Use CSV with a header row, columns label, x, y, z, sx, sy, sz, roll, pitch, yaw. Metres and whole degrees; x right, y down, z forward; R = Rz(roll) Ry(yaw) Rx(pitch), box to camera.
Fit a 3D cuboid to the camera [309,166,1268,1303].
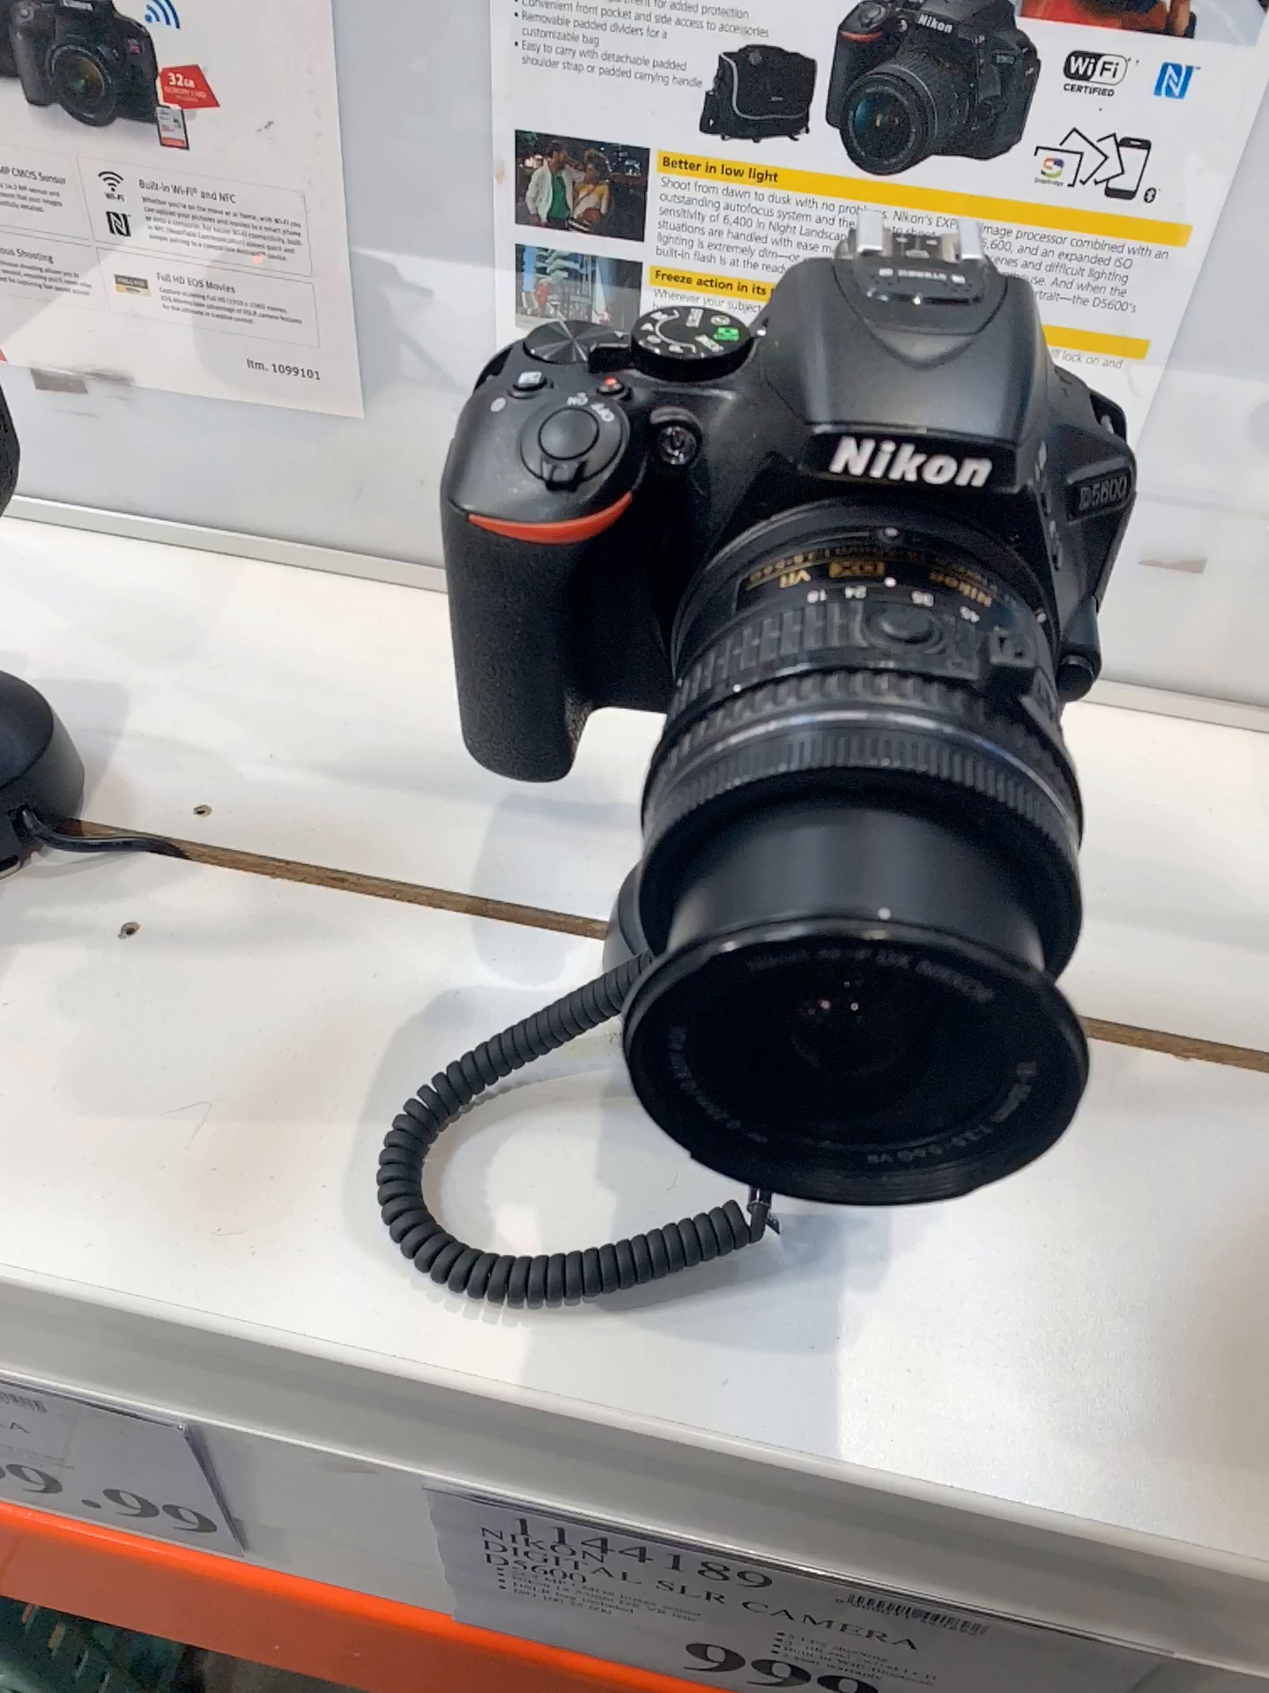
label,x,y,z,sx,sy,sz,roll,pitch,yaw
camera,0.033,-0.027,0.200,0.111,0.090,0.141,9,45,4
